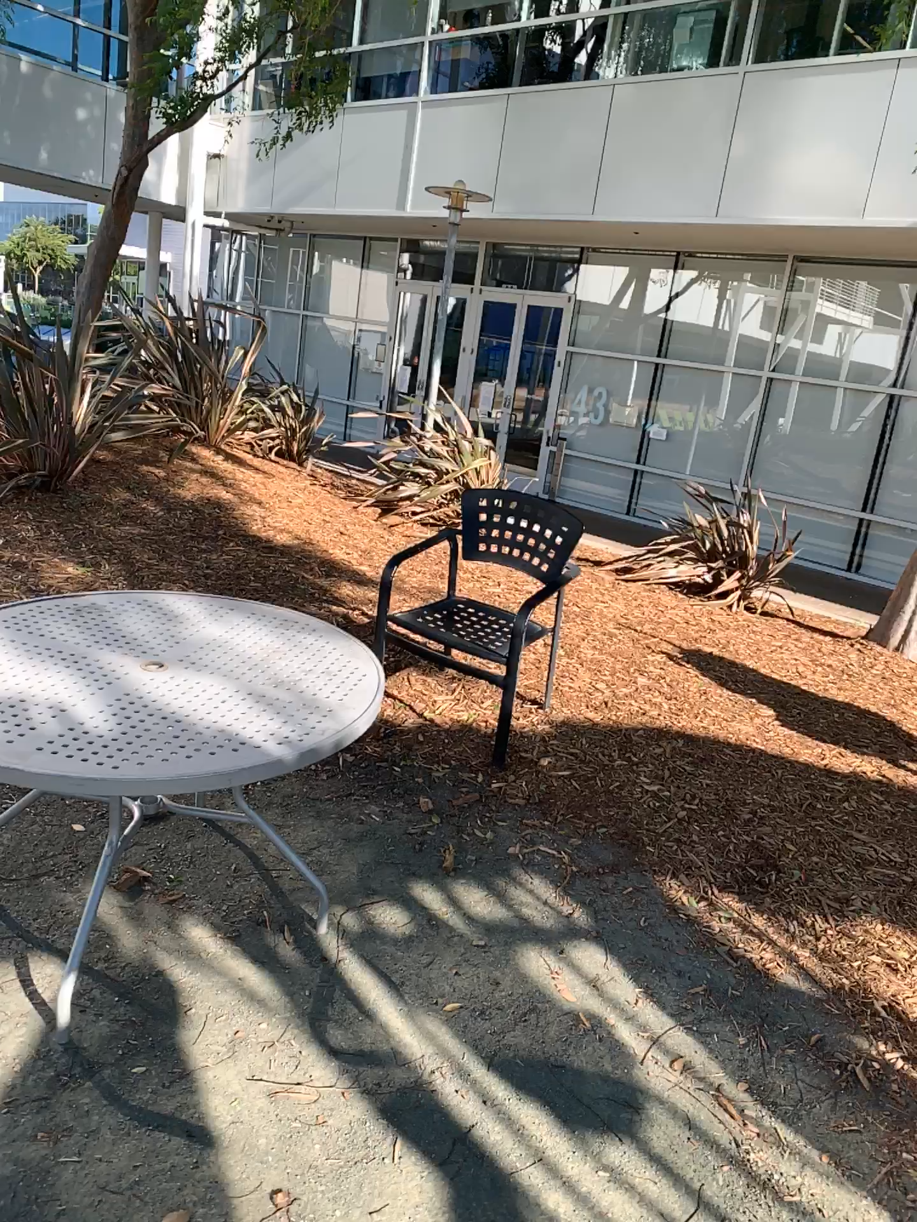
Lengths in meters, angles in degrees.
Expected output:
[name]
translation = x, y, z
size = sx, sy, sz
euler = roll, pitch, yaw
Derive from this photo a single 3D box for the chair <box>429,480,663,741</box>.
[chair]
translation = 0.299, -0.037, 3.196
size = 0.521, 0.717, 0.501
euler = 17, 17, 30
